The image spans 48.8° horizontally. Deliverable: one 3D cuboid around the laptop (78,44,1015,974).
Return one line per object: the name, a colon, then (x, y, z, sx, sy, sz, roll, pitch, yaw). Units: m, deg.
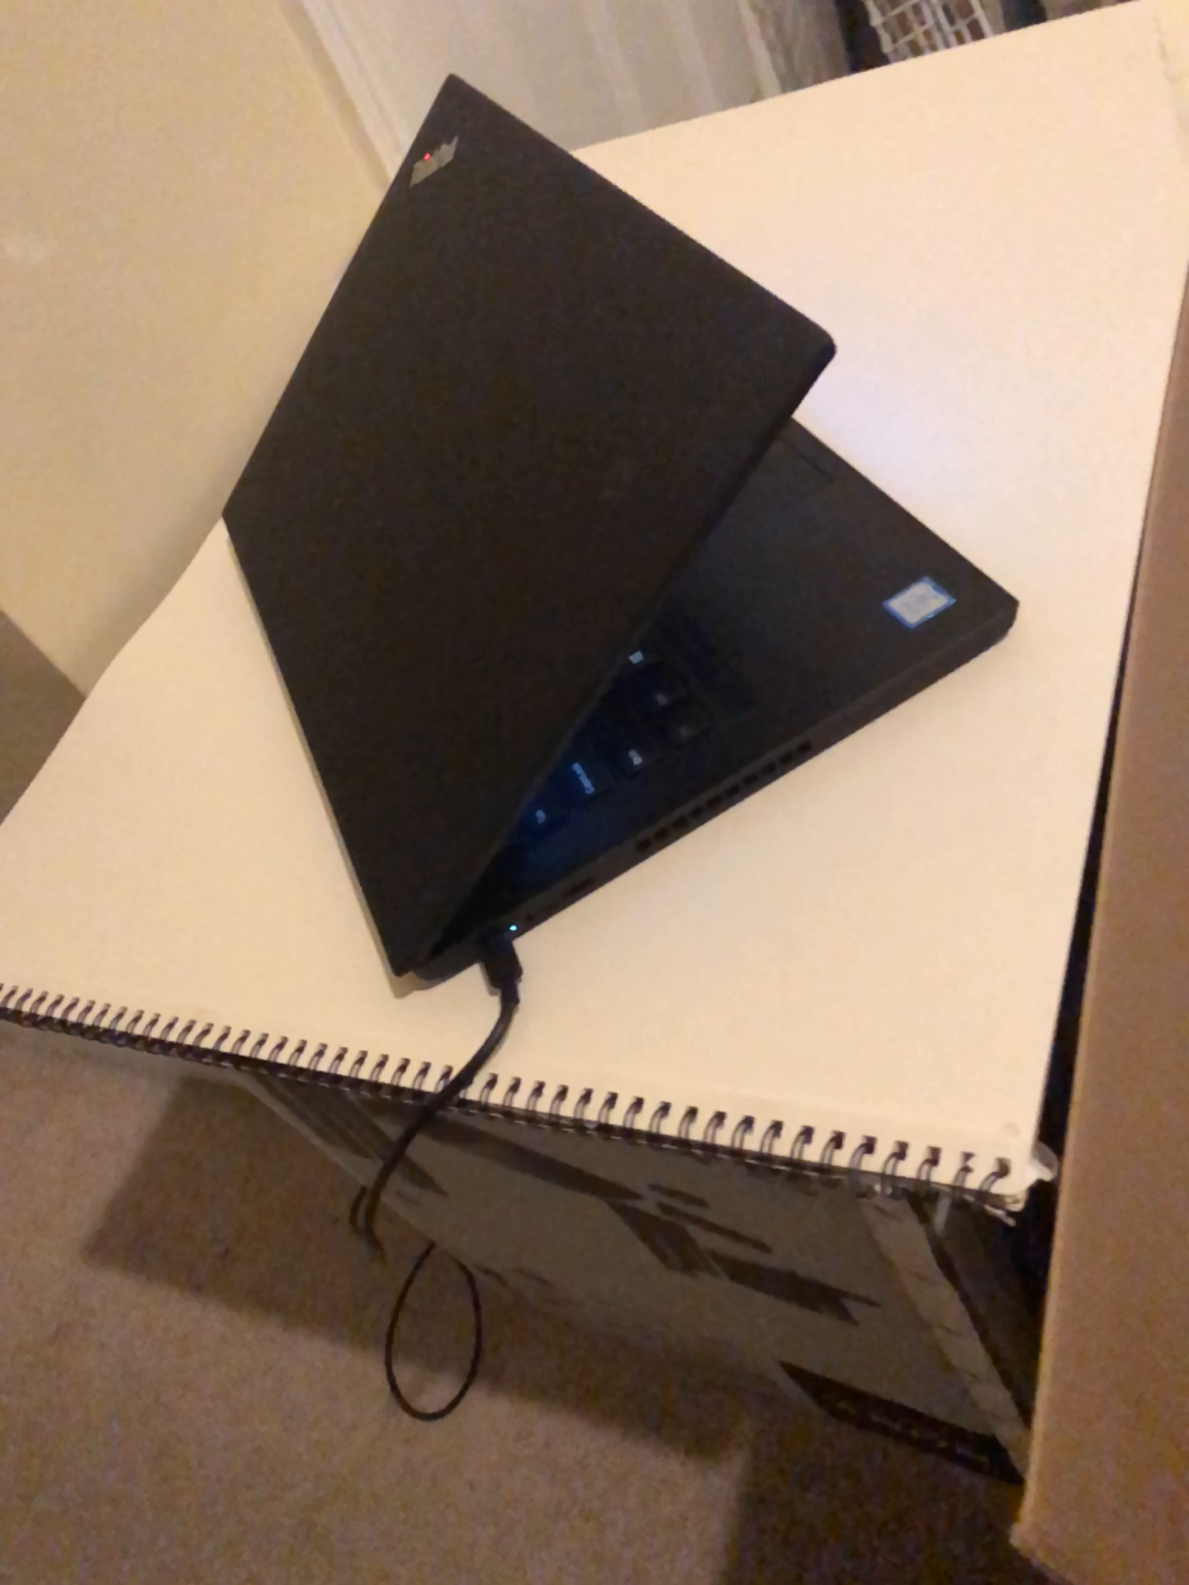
laptop: (-0.045, -0.132, 0.487, 0.226, 0.115, 0.319, -31, 44, 0)
